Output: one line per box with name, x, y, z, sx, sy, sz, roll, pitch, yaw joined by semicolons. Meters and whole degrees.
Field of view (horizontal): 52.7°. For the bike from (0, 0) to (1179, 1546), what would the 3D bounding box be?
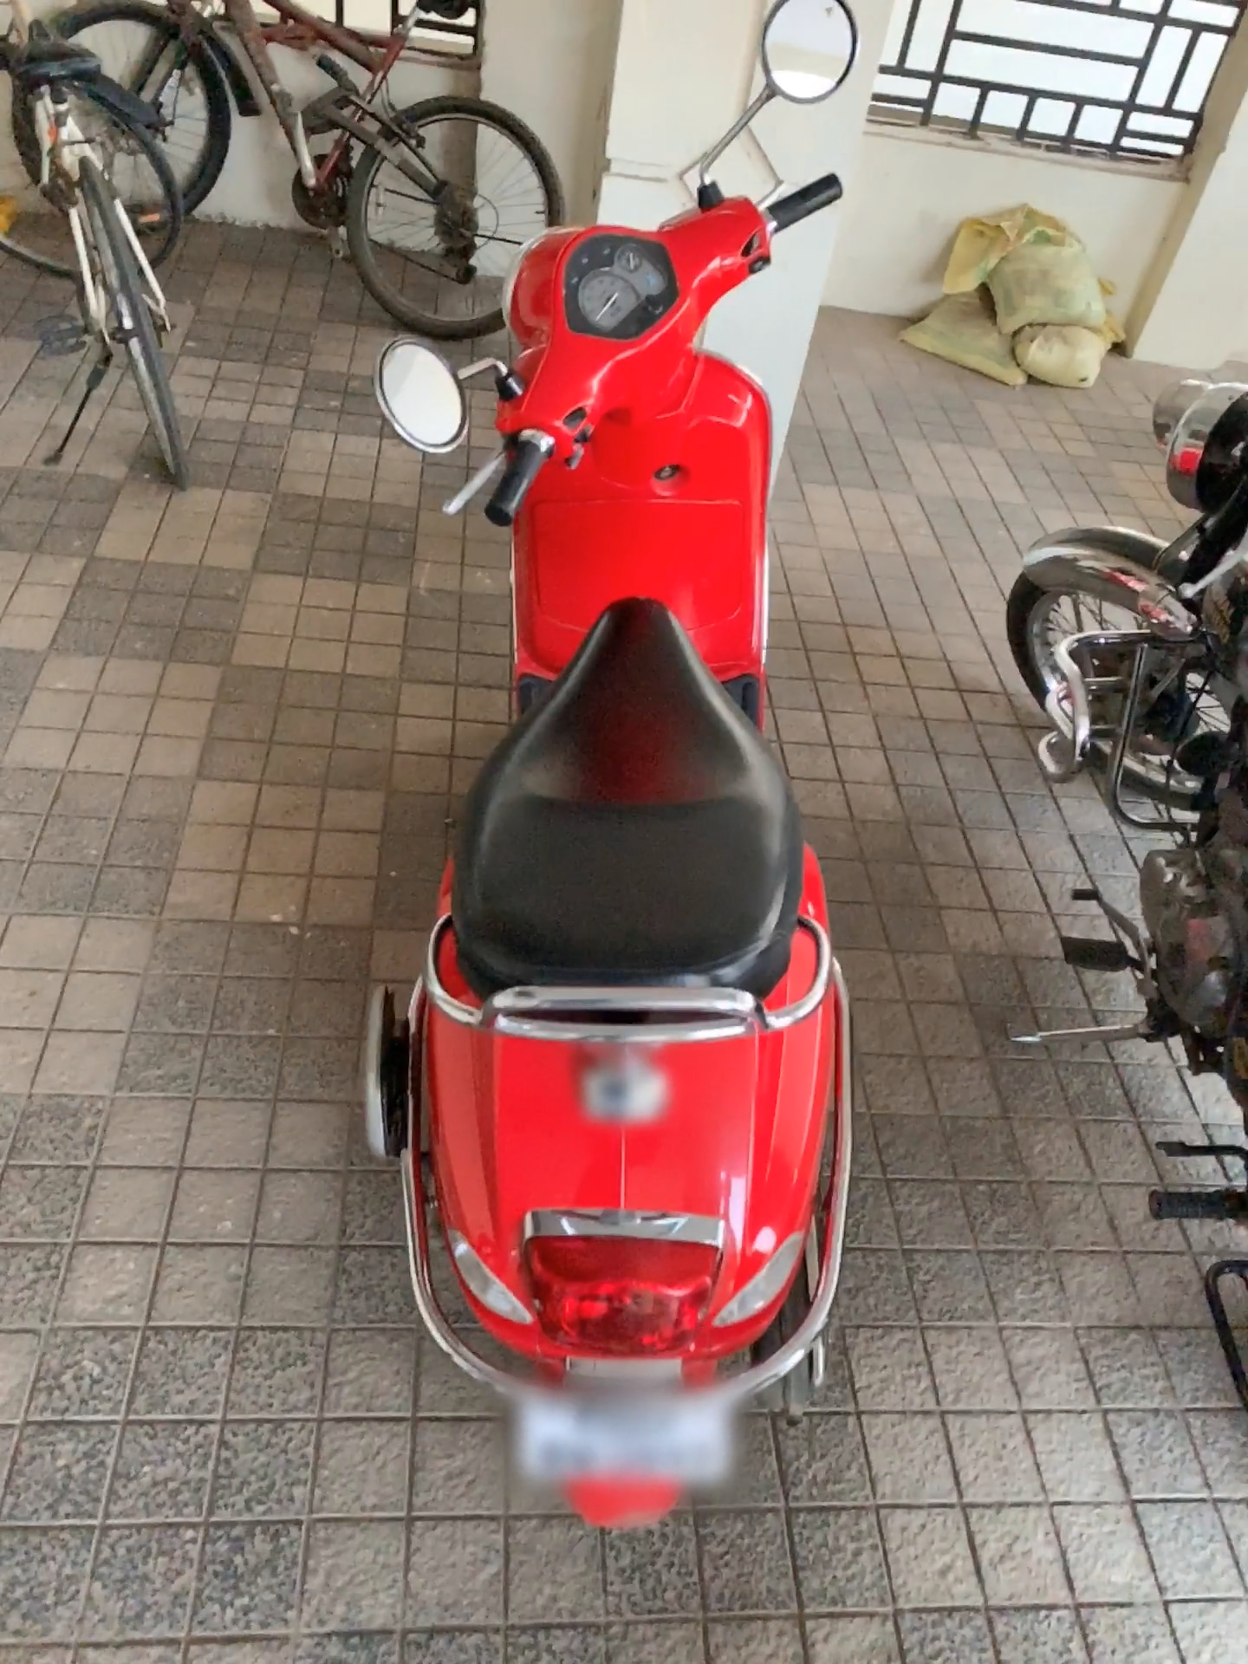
bike;-0.213;-0.127;1.681;0.681;1.262;1.554;1;45;-11
